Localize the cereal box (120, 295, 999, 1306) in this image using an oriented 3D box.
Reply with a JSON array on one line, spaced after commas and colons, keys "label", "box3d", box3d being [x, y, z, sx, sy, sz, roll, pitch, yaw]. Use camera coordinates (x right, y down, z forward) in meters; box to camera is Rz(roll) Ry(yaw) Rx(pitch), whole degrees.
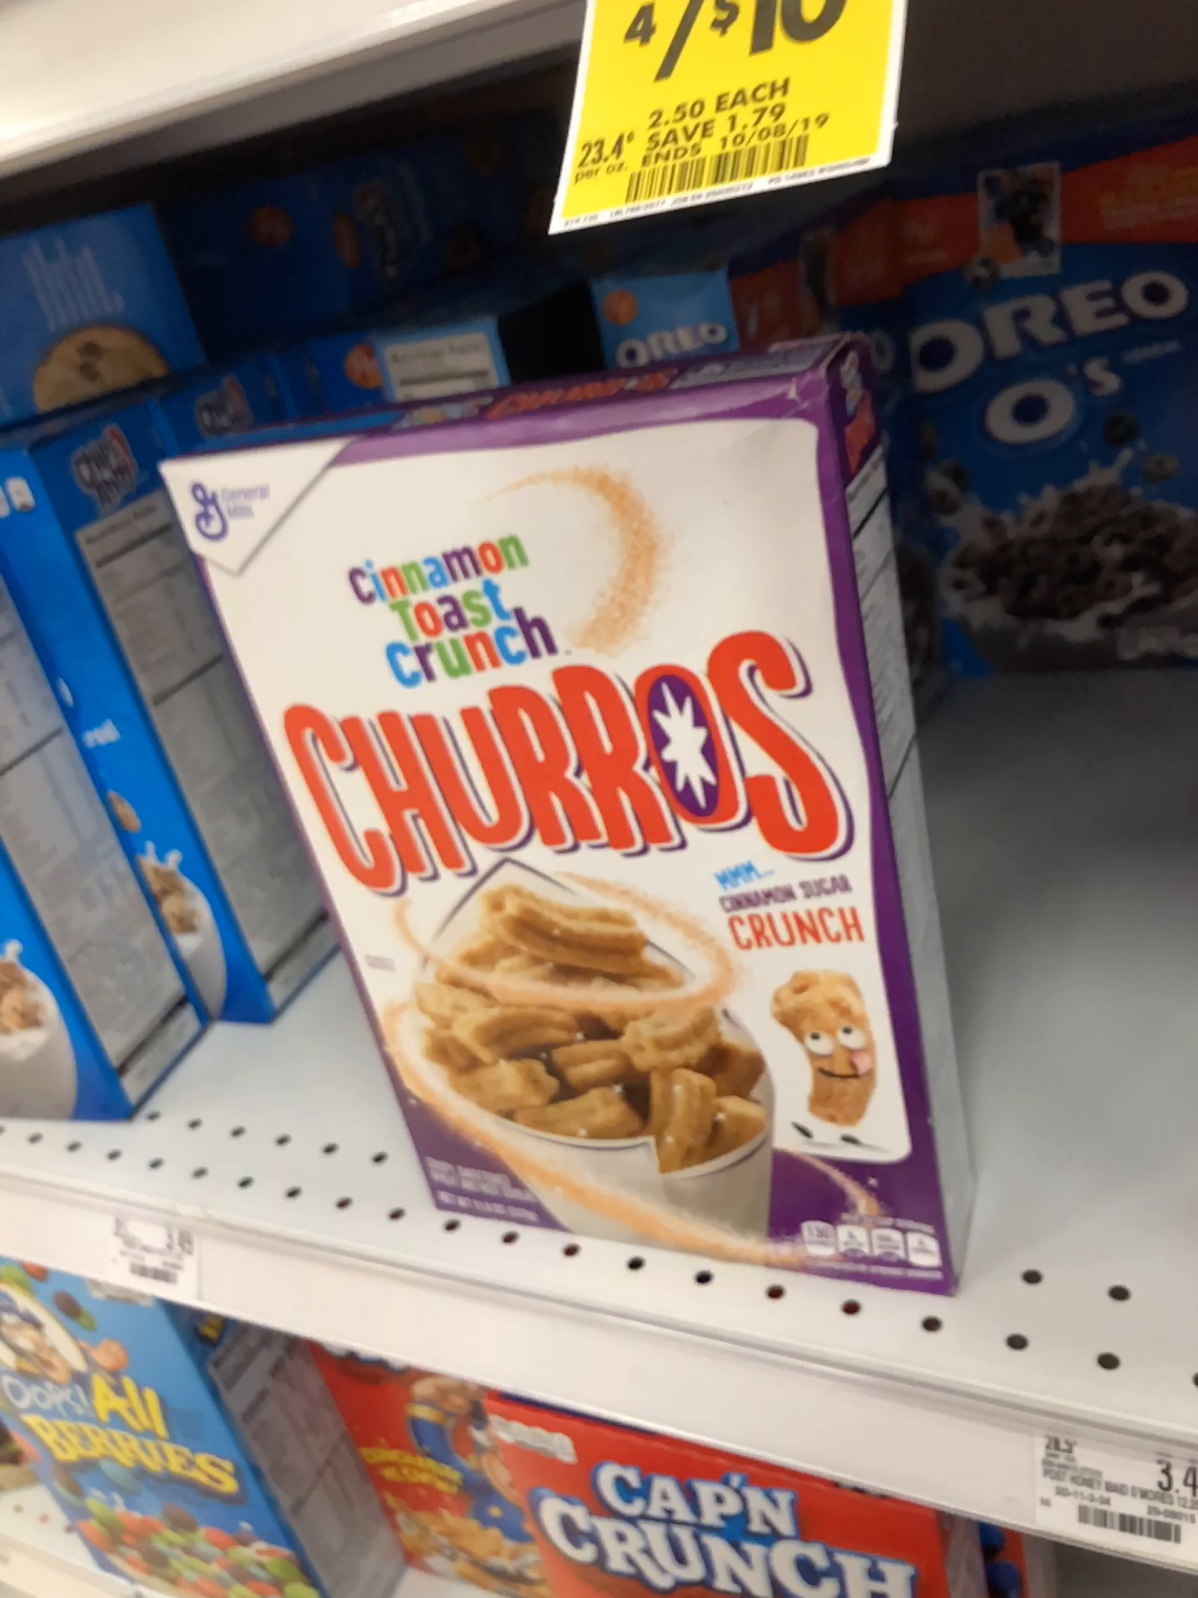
[{"label": "cereal box", "box3d": [0.000, 0.014, 0.411, 0.200, 0.279, 0.060, 0, 30, 28]}]
